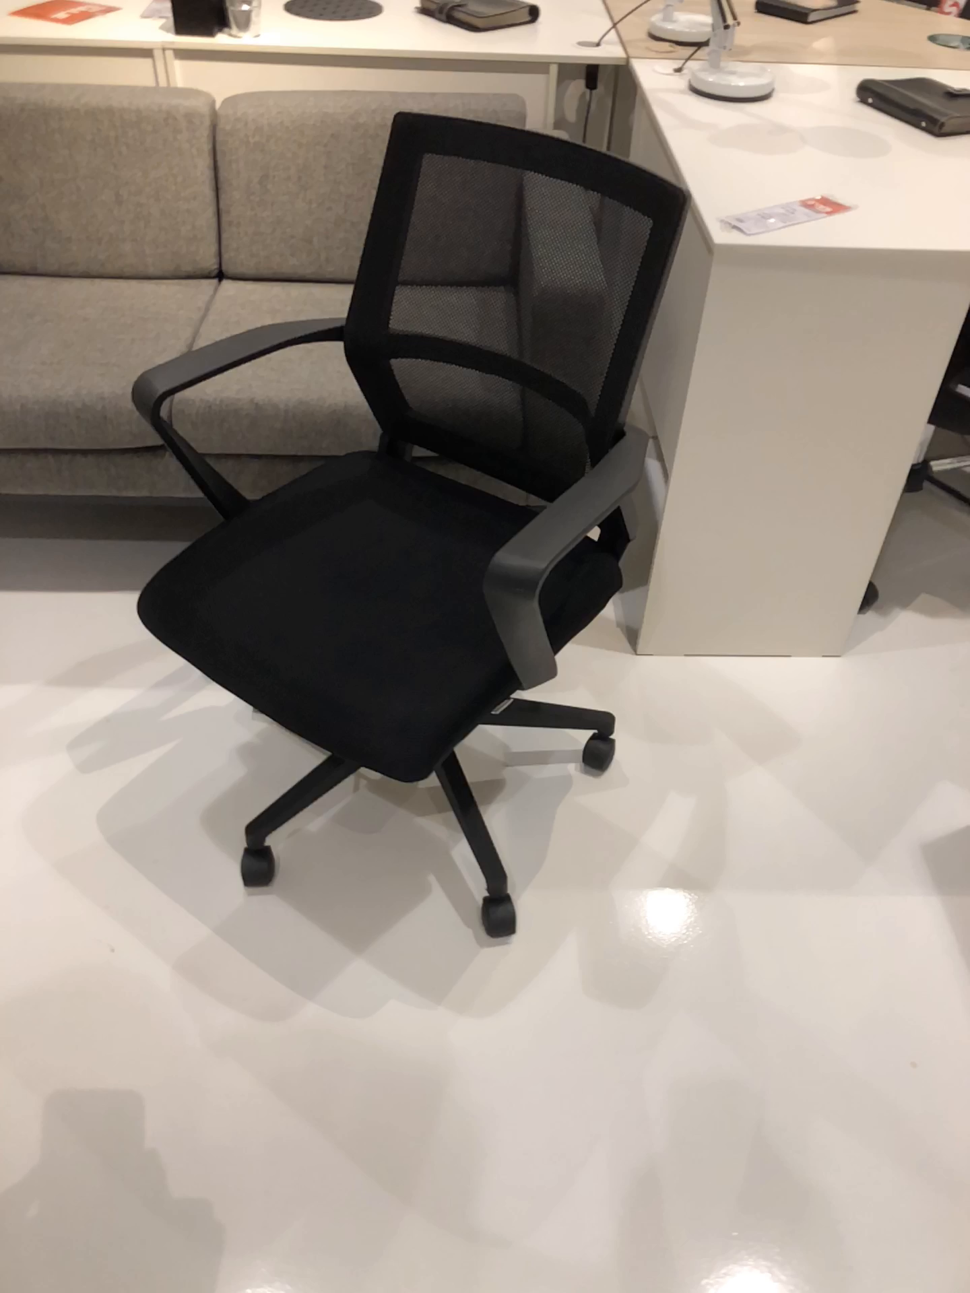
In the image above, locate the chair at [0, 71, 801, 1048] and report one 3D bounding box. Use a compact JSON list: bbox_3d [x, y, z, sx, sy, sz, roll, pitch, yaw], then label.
[{"bbox_3d":[-0.131,-0.129,1.428,0.681,0.933,0.633,27,48,25],"label":"chair"}]
